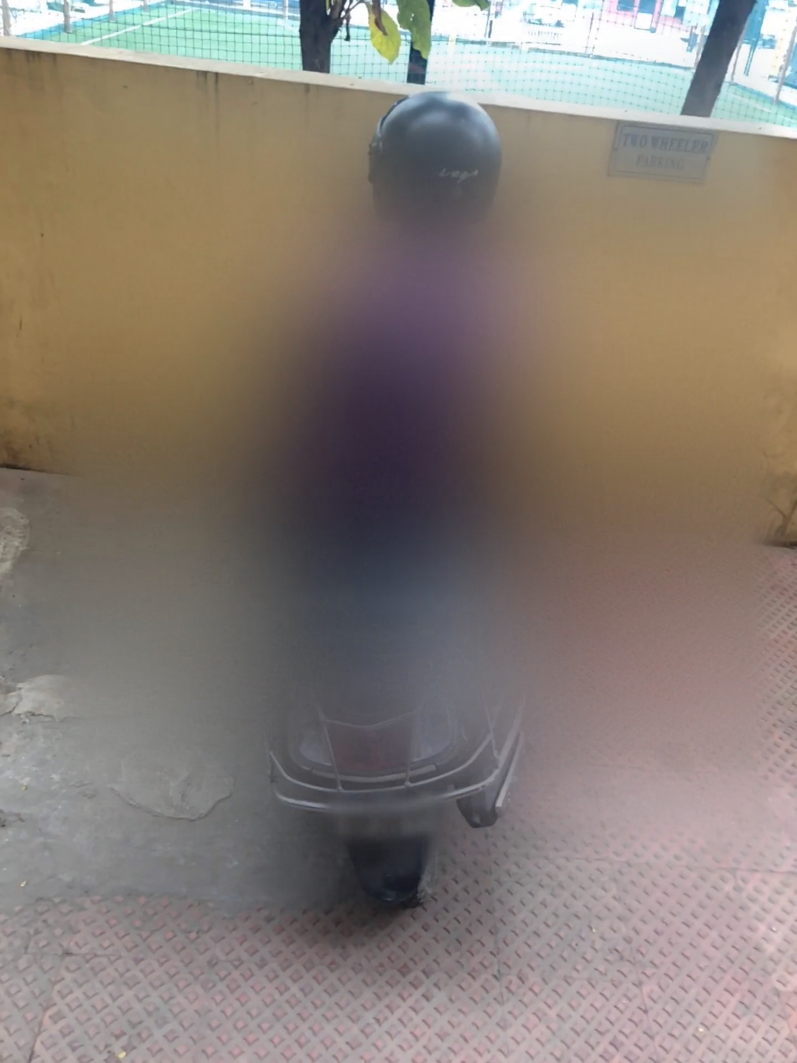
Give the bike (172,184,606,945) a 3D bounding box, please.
[{"bbox_3d":[-0.153,-0.081,2.316,0.643,1.182,1.724,2,33,-7],"label":"bike"}]
